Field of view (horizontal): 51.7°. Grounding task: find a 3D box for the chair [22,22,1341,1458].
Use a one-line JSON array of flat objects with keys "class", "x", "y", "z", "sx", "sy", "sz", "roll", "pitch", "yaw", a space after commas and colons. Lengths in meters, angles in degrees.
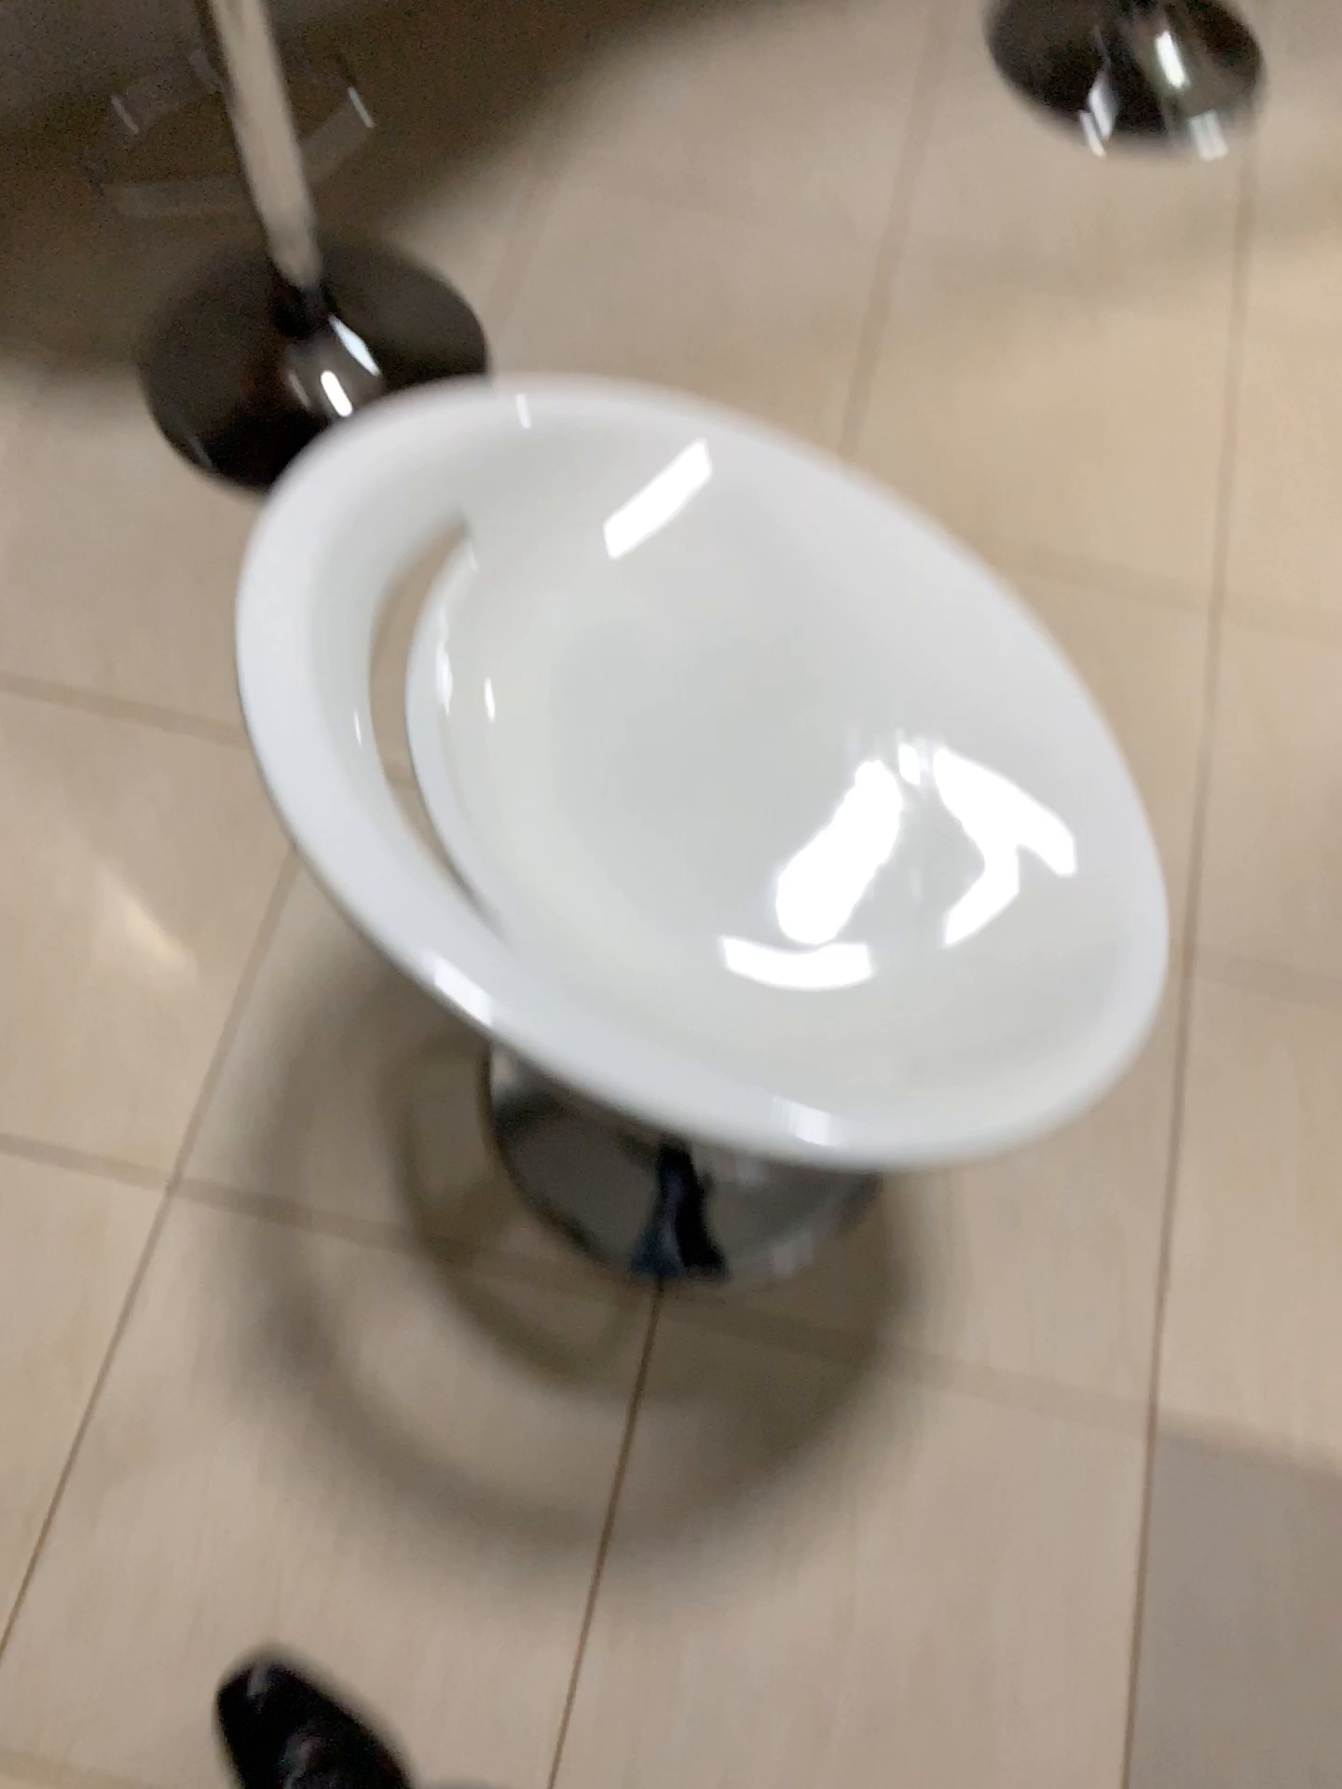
[{"class": "chair", "x": 0.029, "y": 0.009, "z": 0.882, "sx": 0.451, "sy": 0.737, "sz": 0.471, "roll": -28, "pitch": 72, "yaw": -15}]
